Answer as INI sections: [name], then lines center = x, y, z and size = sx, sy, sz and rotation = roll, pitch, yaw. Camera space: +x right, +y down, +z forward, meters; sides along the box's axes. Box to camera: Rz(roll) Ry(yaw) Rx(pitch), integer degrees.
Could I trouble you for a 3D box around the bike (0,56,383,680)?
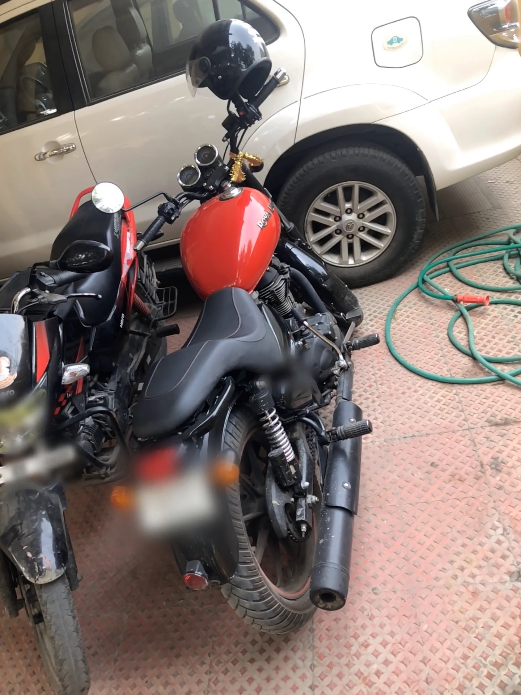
[bike]
center = -0.150, -0.077, 1.956
size = 0.820, 1.270, 1.721
rotation = -9, 34, 13
